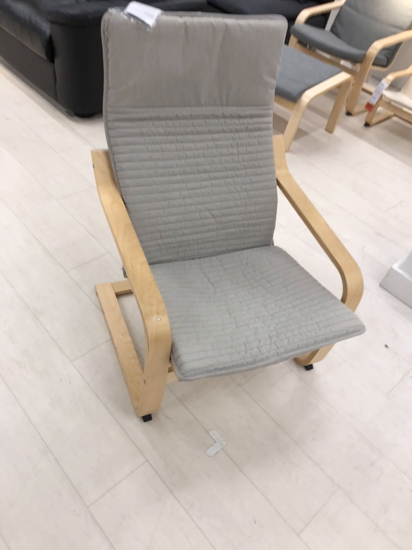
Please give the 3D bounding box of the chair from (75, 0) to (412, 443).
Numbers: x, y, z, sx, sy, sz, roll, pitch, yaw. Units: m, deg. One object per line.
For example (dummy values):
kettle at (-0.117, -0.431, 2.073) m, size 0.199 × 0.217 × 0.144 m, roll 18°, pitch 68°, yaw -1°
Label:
chair at (0.084, -0.170, 1.290) m, size 0.731 × 0.996 × 0.702 m, roll -9°, pitch 48°, yaw -21°
